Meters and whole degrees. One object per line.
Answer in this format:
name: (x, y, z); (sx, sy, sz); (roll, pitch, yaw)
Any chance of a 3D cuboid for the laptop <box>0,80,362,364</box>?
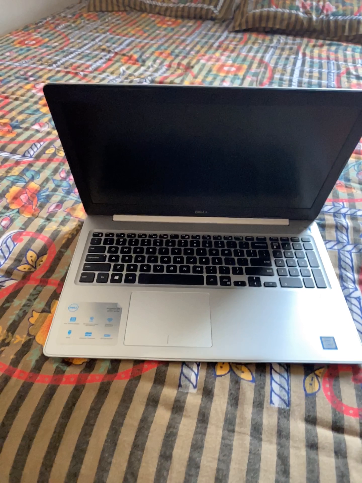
laptop: (0.029, -0.022, 0.430); (0.373, 0.231, 0.211); (2, 44, 1)
